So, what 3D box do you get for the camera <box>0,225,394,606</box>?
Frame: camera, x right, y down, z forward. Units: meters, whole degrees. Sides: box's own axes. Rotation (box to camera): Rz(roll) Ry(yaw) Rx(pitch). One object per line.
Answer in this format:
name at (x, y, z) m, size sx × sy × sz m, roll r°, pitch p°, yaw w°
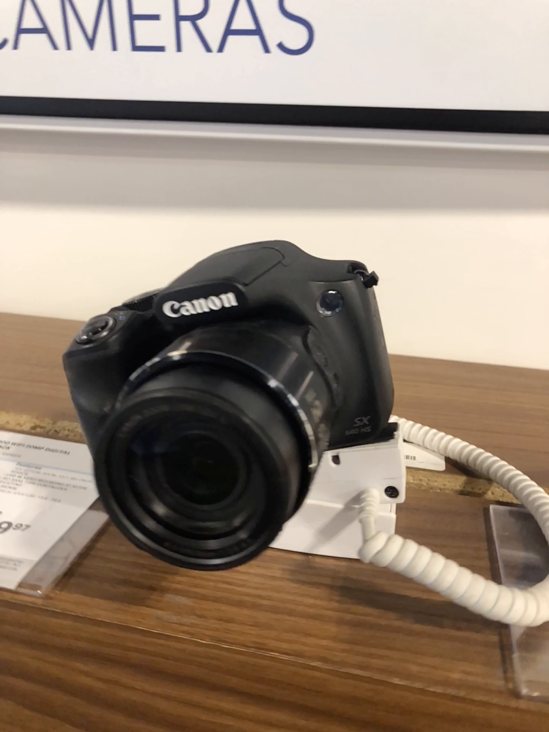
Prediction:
camera at (-0.027, 0.006, 0.223) m, size 0.130 × 0.070 × 0.141 m, roll -9°, pitch 18°, yaw 14°
